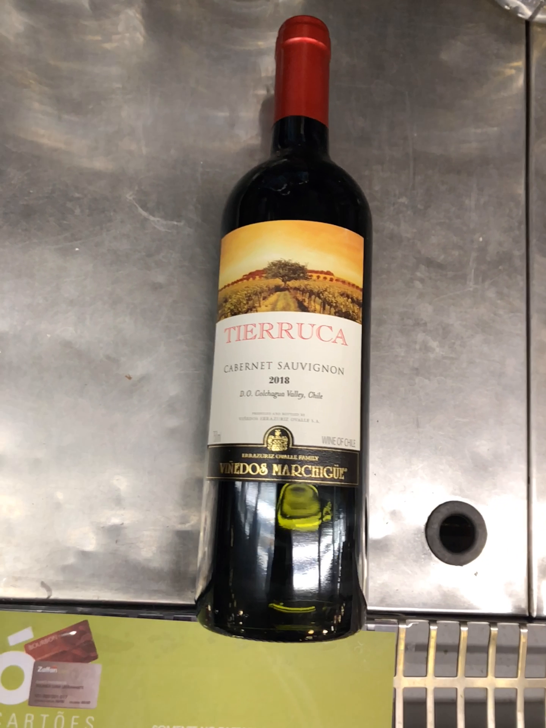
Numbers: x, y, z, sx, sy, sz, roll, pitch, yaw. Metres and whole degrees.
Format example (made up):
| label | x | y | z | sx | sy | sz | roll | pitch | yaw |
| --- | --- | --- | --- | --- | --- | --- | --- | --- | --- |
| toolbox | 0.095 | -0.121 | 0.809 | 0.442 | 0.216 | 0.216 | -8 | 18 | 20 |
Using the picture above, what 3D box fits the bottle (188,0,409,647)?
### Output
| label | x | y | z | sx | sy | sz | roll | pitch | yaw |
| --- | --- | --- | --- | --- | --- | --- | --- | --- | --- |
| bottle | 0.013 | -0.041 | 0.281 | 0.080 | 0.050 | 0.310 | 5 | 80 | -9 |
